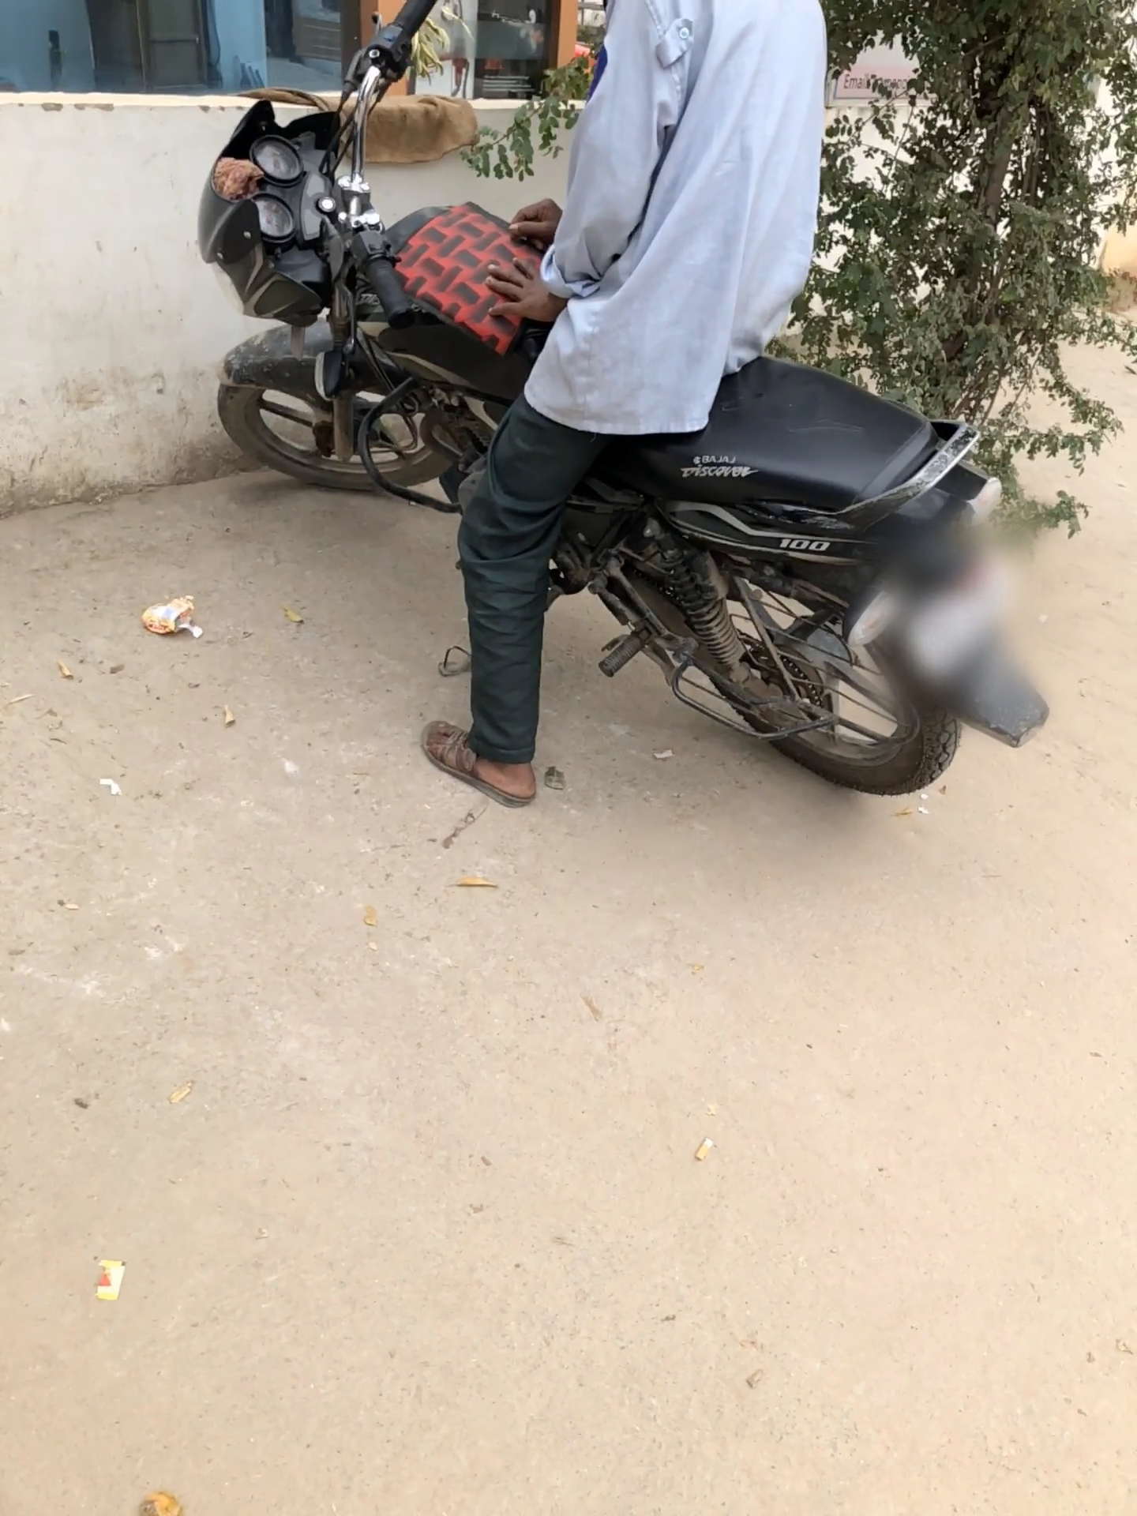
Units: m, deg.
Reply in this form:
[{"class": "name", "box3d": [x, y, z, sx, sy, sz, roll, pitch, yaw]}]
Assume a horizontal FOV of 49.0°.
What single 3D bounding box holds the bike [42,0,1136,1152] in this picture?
[{"class": "bike", "box3d": [-0.036, -0.489, 2.082, 1.498, 1.332, 0.790, 28, 38, 30]}]
